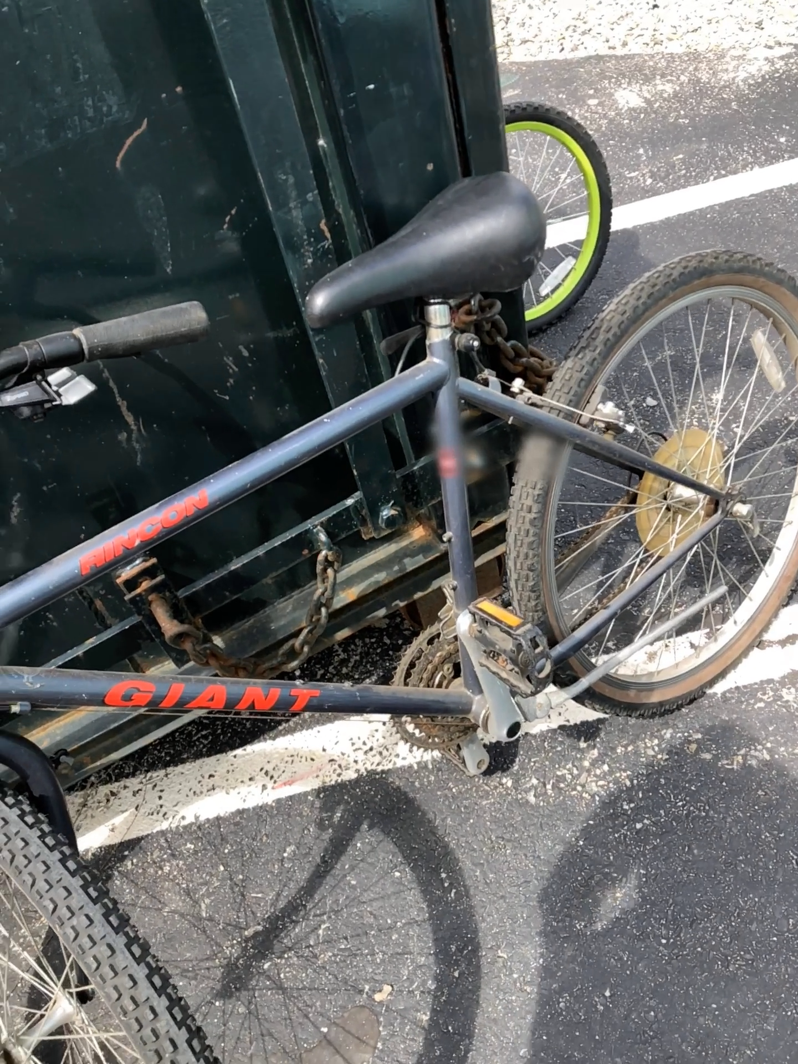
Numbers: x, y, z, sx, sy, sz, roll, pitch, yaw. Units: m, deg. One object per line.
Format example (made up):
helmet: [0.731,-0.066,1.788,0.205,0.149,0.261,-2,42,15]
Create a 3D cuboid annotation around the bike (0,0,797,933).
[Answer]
bike: [-0.267,-0.115,1.063,1.098,0.833,0.637,-24,50,-10]
